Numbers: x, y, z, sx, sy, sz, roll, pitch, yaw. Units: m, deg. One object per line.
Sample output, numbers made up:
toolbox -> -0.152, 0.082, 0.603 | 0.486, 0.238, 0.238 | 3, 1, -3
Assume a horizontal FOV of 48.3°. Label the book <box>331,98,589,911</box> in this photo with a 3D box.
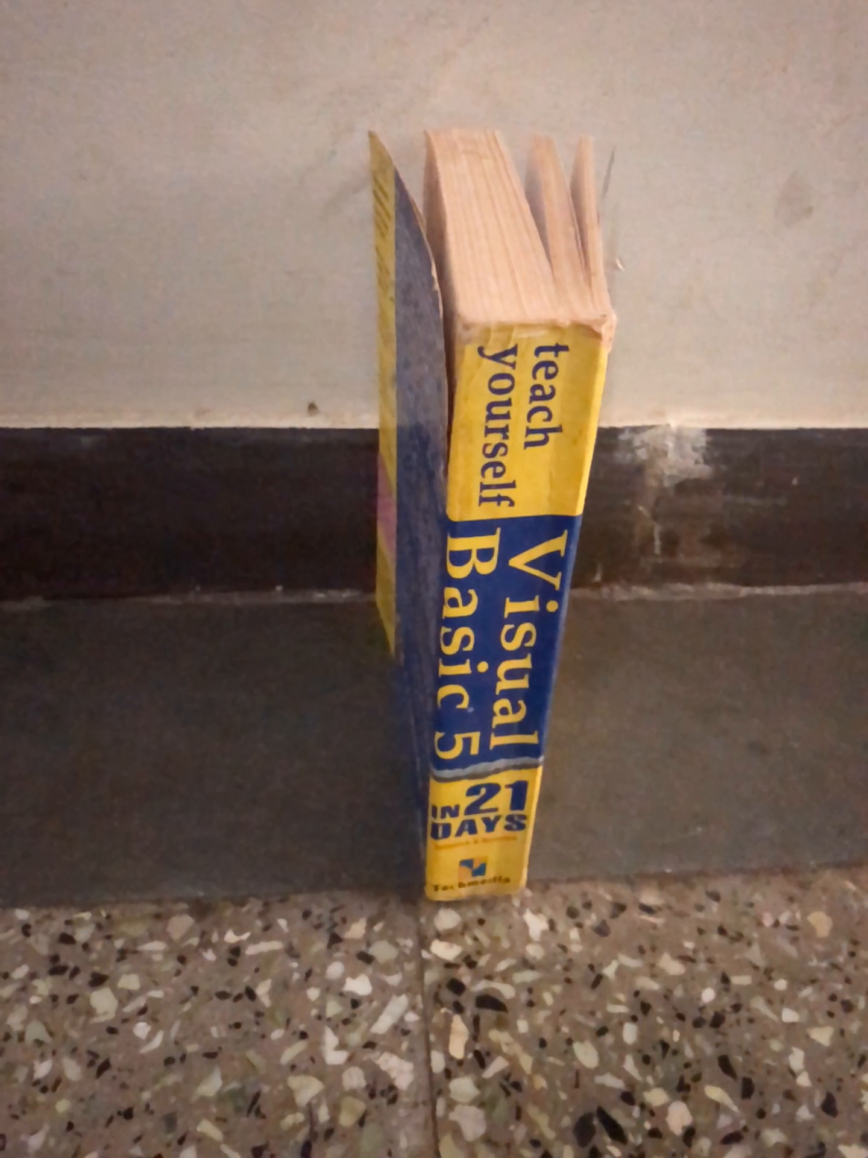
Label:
book -> 0.010, -0.044, 0.393 | 0.060, 0.229, 0.251 | -1, 37, 1
